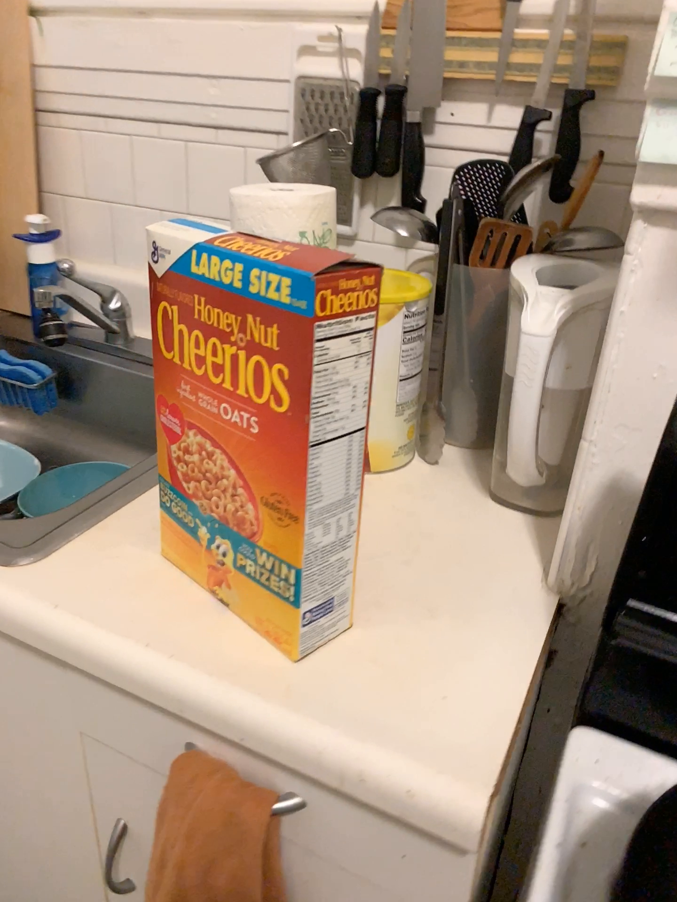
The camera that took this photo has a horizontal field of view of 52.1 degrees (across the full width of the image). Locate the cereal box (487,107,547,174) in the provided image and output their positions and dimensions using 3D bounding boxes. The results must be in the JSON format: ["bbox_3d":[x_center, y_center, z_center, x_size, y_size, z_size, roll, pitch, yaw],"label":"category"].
[{"bbox_3d":[2.656,-4.643,10.366,0.553,0.865,0.500,26,35,37],"label":"cereal box"}]
